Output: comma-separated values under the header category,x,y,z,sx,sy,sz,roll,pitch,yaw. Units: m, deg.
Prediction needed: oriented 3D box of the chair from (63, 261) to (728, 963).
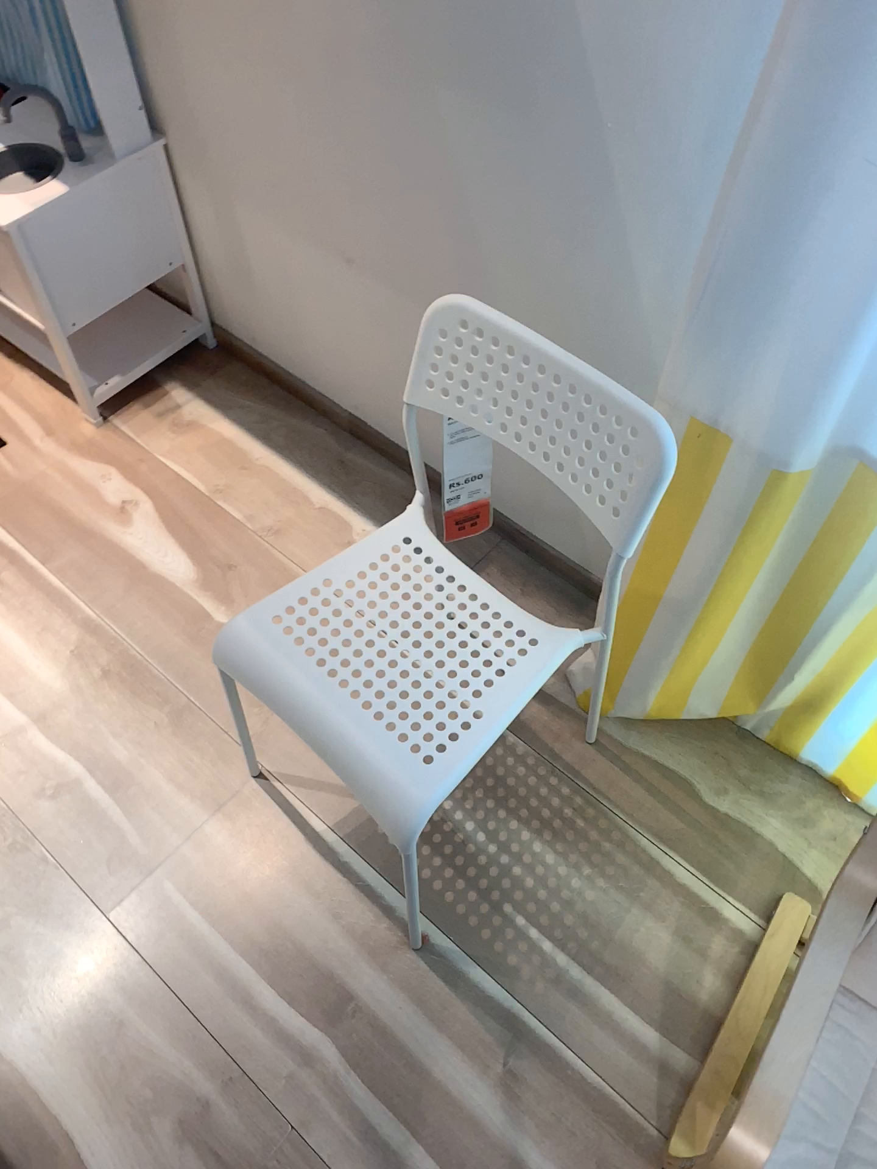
category,x,y,z,sx,sy,sz,roll,pitch,yaw
chair,-0.032,0.065,1.190,0.441,0.658,0.531,38,64,24
